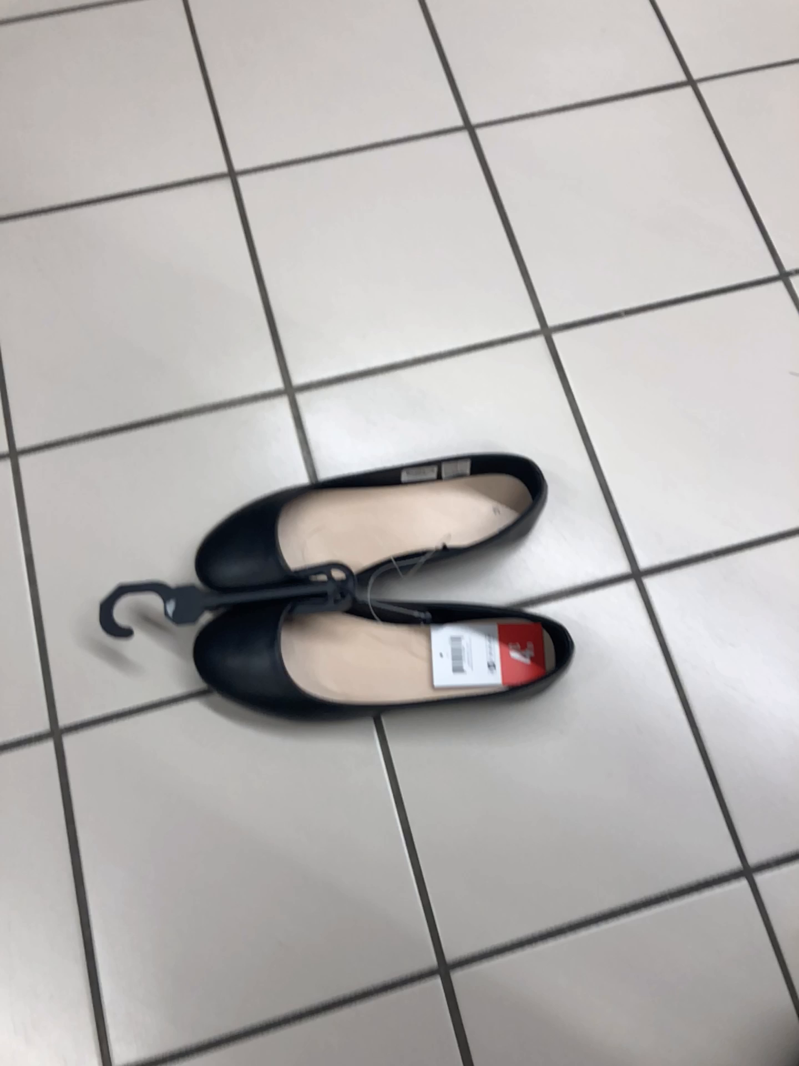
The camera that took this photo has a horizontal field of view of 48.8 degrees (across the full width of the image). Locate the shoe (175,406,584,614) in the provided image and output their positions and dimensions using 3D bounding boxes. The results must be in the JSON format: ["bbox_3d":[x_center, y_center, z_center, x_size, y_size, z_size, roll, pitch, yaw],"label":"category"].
[{"bbox_3d":[-0.013,-0.015,0.591,0.250,0.060,0.080,-11,72,-6],"label":"shoe"}]

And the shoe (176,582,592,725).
[{"bbox_3d":[-0.010,0.079,0.571,0.250,0.060,0.080,0,71,-2],"label":"shoe"}]
